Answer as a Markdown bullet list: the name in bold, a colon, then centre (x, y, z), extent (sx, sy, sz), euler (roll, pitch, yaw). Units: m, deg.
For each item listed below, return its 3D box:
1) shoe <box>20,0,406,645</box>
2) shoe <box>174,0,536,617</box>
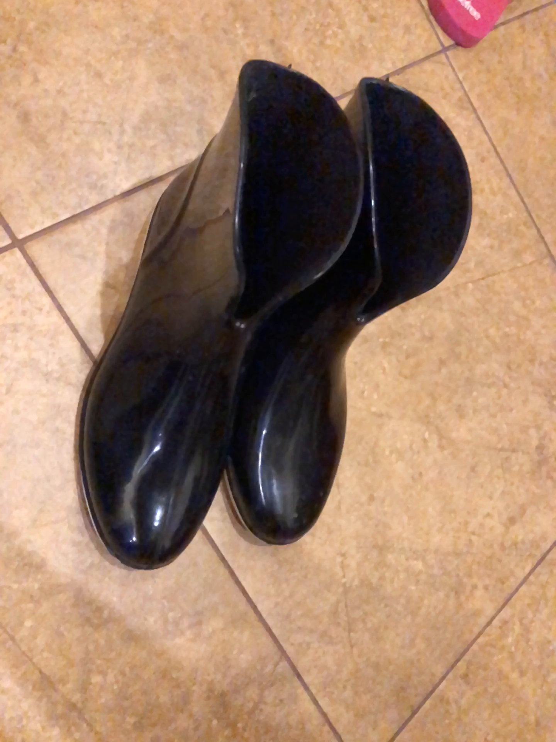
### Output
- **shoe**: centre (-0.052, -0.027, 0.342), extent (0.110, 0.229, 0.280), euler (11, 77, -25)
- **shoe**: centre (0.023, -0.019, 0.396), extent (0.110, 0.229, 0.280), euler (4, 80, -26)
